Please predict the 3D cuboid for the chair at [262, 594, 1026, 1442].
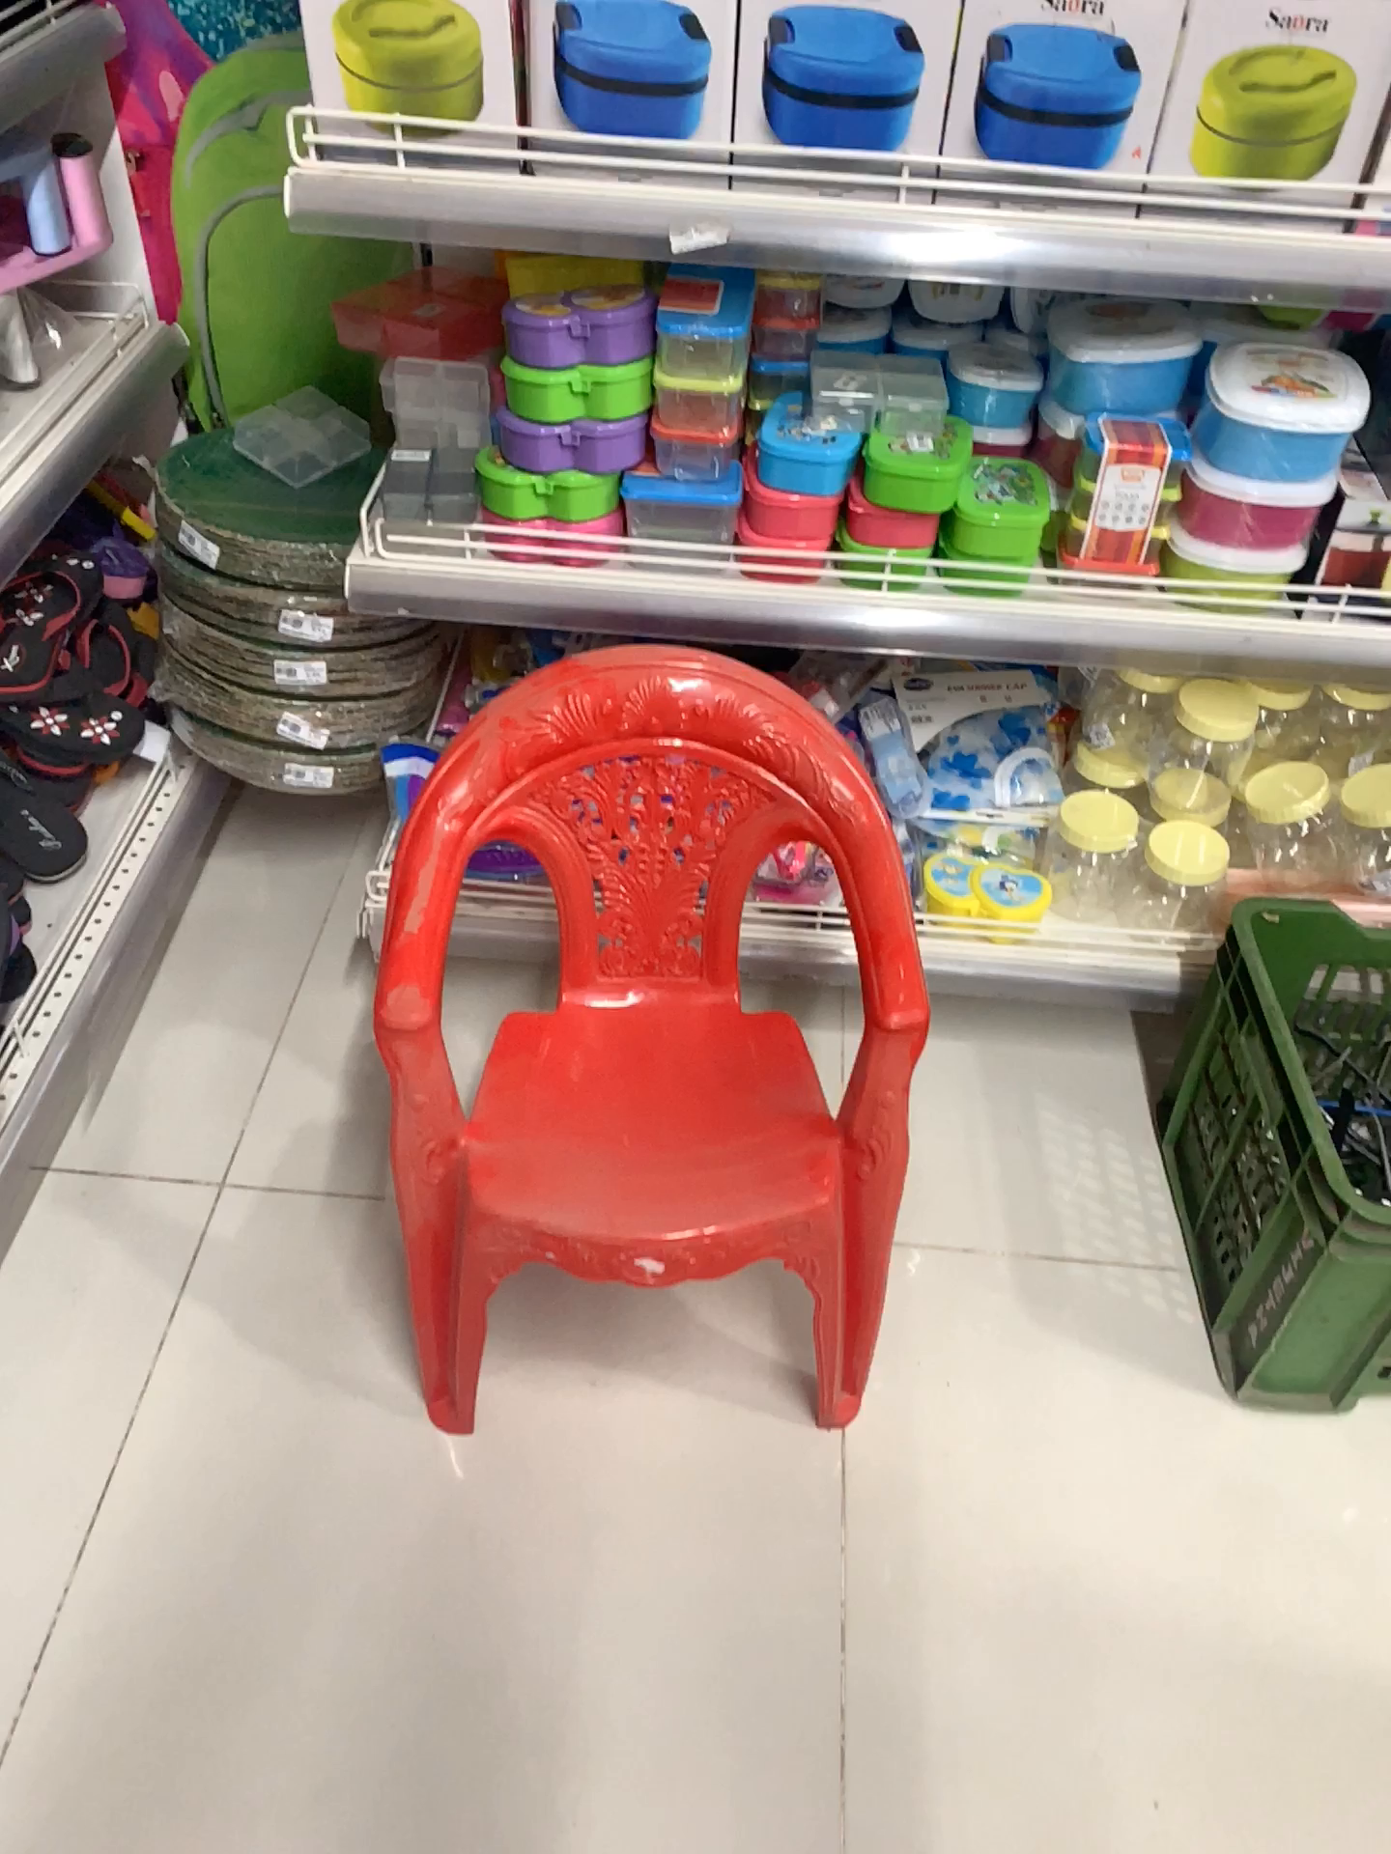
[{"bbox_3d":[-0.036,0.078,1.083,0.410,0.498,0.411,1,44,-2],"label":"chair"}]
